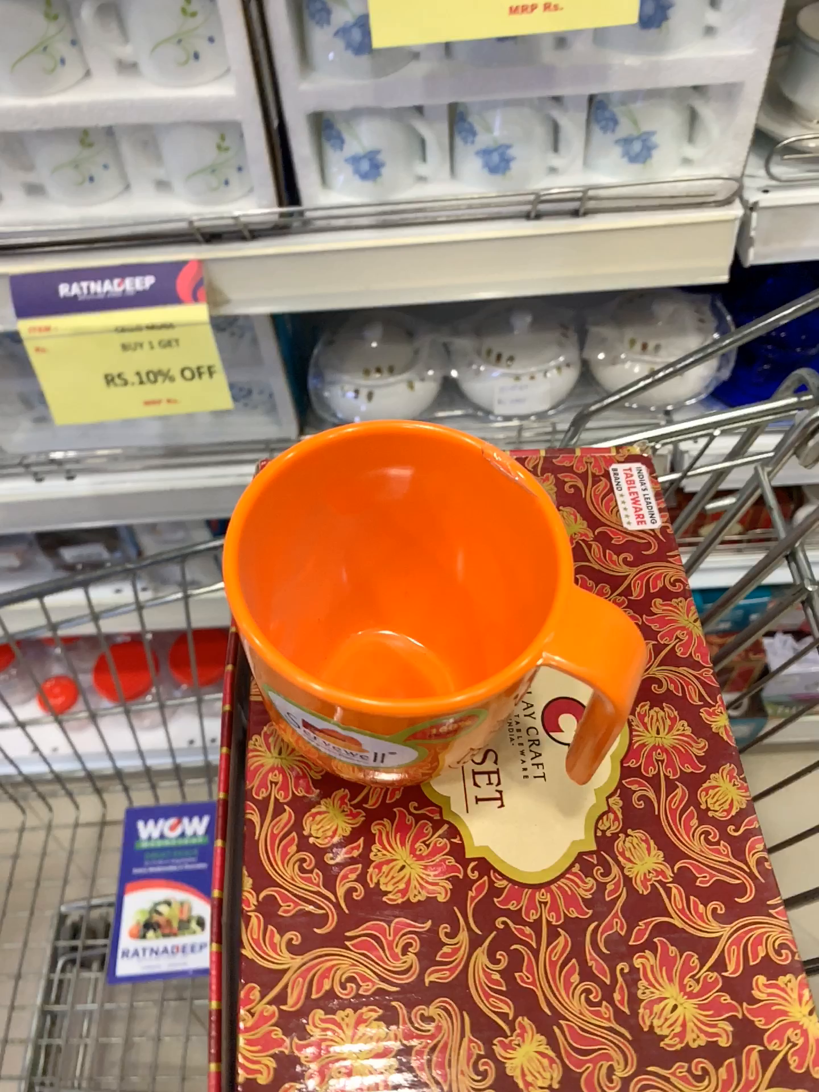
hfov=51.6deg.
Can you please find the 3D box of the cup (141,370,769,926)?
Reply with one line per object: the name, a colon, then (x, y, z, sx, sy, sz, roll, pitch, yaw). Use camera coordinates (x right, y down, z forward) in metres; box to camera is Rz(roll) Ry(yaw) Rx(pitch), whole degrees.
cup: (0.013, 0.025, 0.205, 0.110, 0.070, 0.080, 18, 59, 10)
